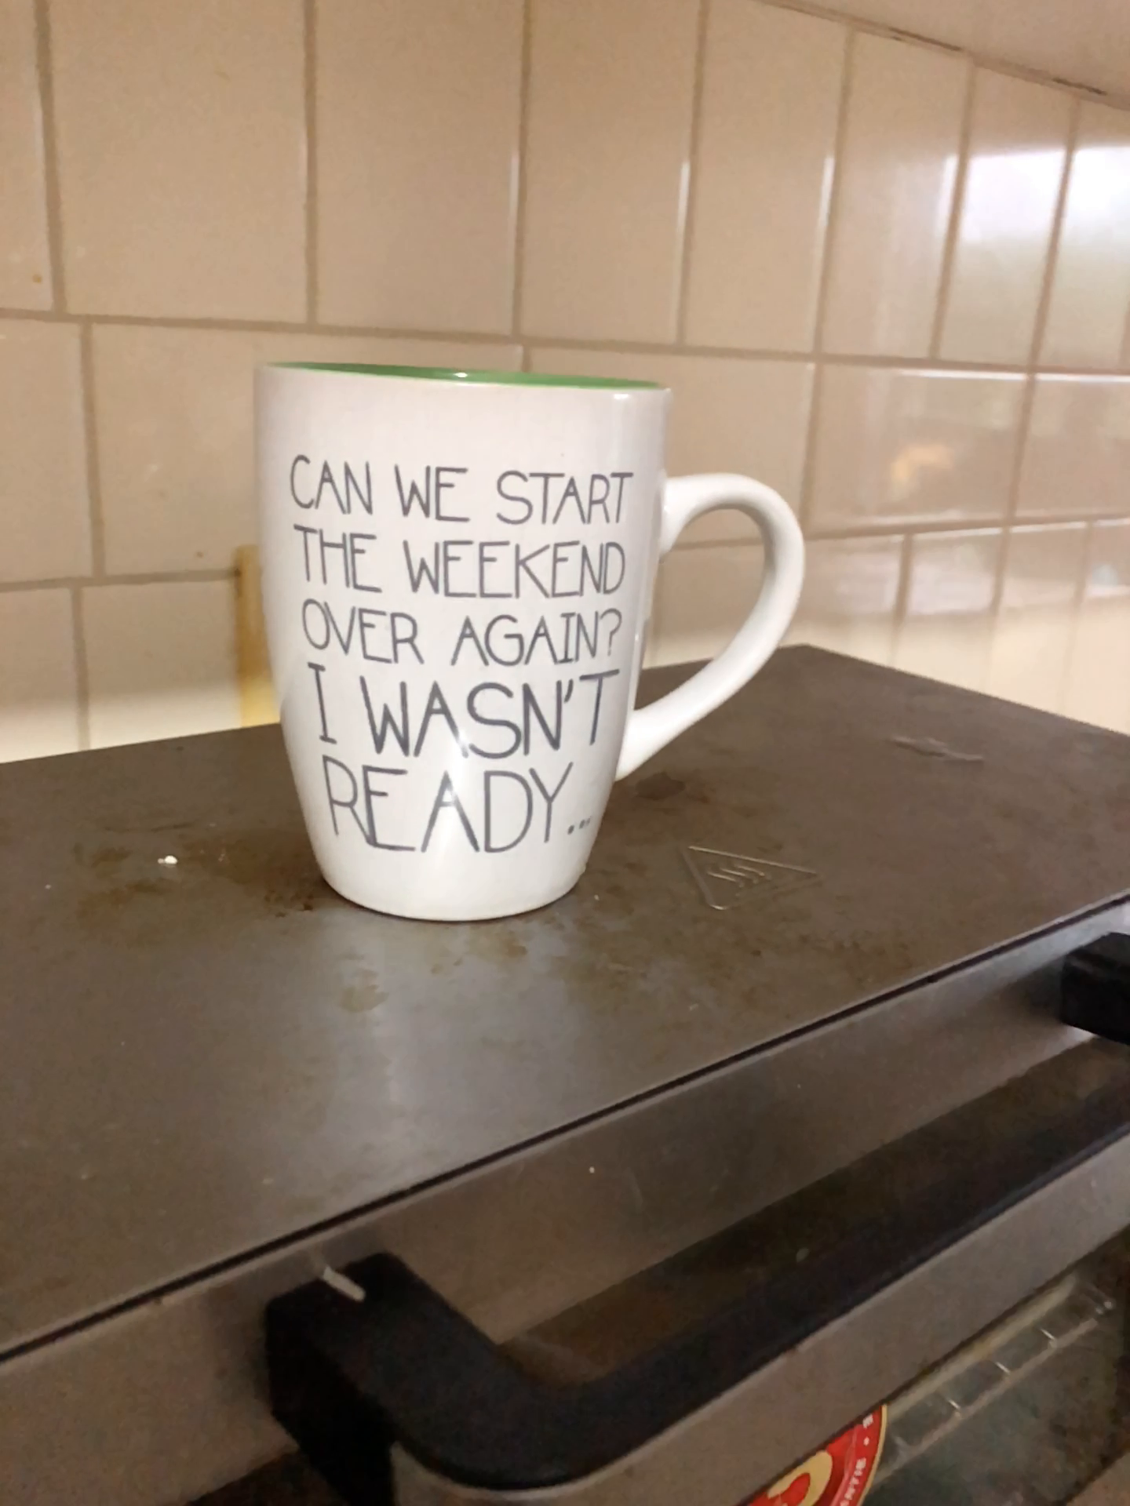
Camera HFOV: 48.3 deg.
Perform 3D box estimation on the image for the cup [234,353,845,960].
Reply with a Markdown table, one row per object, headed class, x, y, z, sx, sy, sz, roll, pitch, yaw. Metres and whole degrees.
| class | x | y | z | sx | sy | sz | roll | pitch | yaw |
| --- | --- | --- | --- | --- | --- | --- | --- | --- | --- |
| cup | -0.012 | -0.025 | 0.269 | 0.110 | 0.110 | 0.070 | -2 | 17 | -15 |
